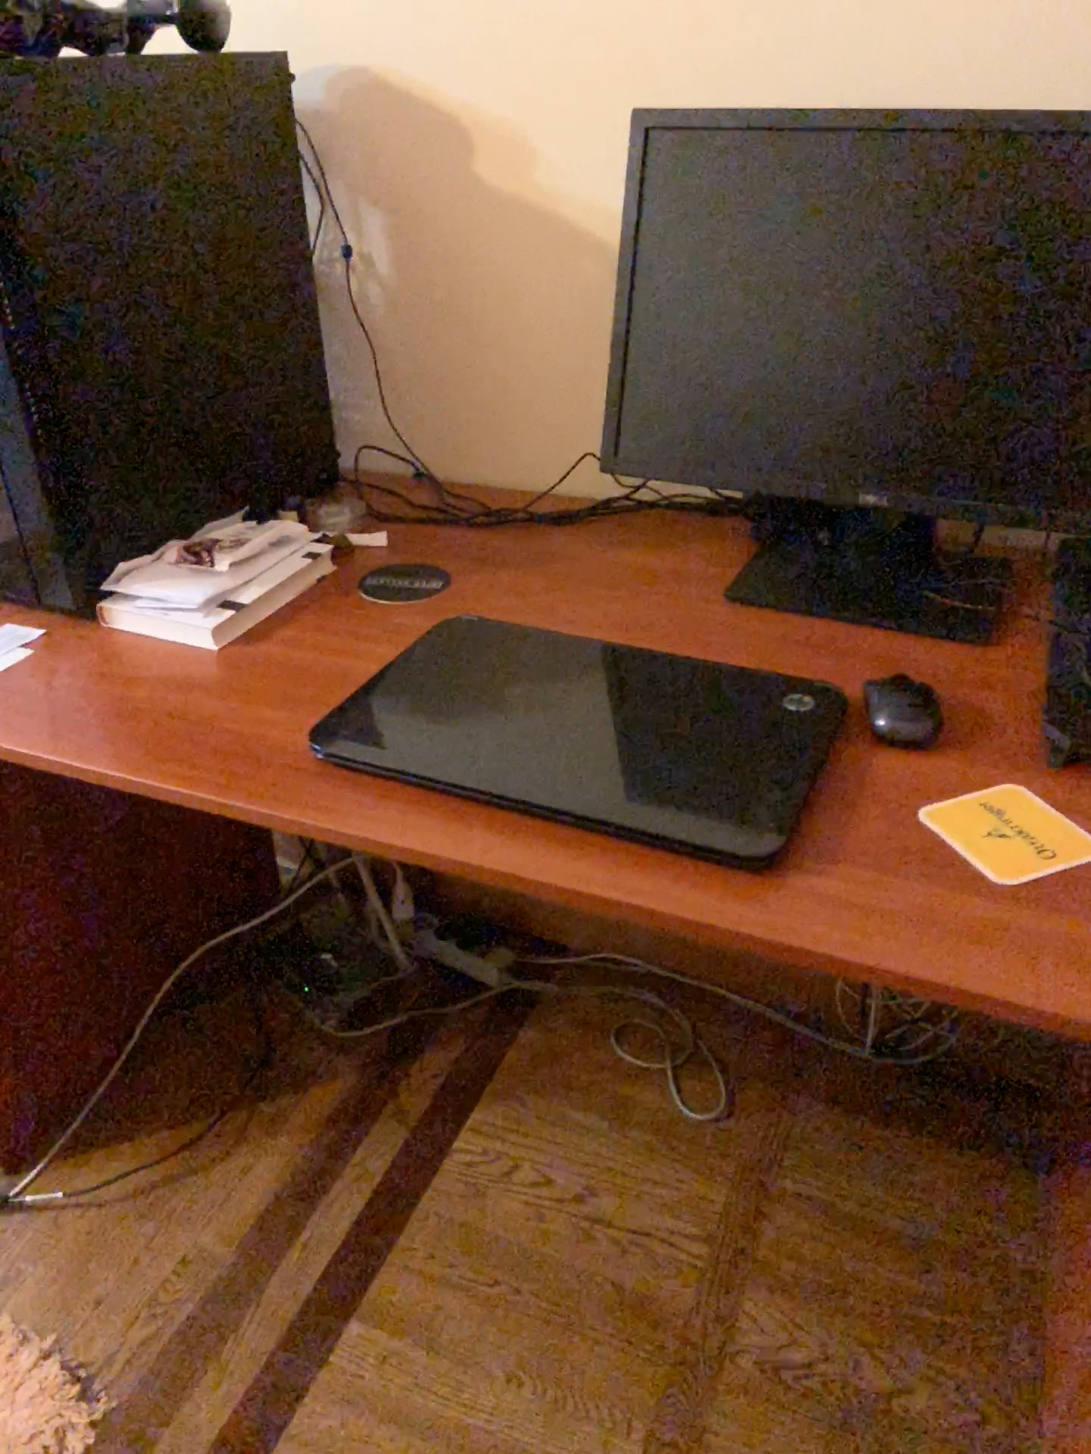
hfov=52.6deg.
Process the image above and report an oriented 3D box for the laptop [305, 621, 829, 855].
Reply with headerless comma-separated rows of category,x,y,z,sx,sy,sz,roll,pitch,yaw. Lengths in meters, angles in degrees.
laptop,0.023,-0.009,0.930,0.382,0.001,0.243,12,34,23
